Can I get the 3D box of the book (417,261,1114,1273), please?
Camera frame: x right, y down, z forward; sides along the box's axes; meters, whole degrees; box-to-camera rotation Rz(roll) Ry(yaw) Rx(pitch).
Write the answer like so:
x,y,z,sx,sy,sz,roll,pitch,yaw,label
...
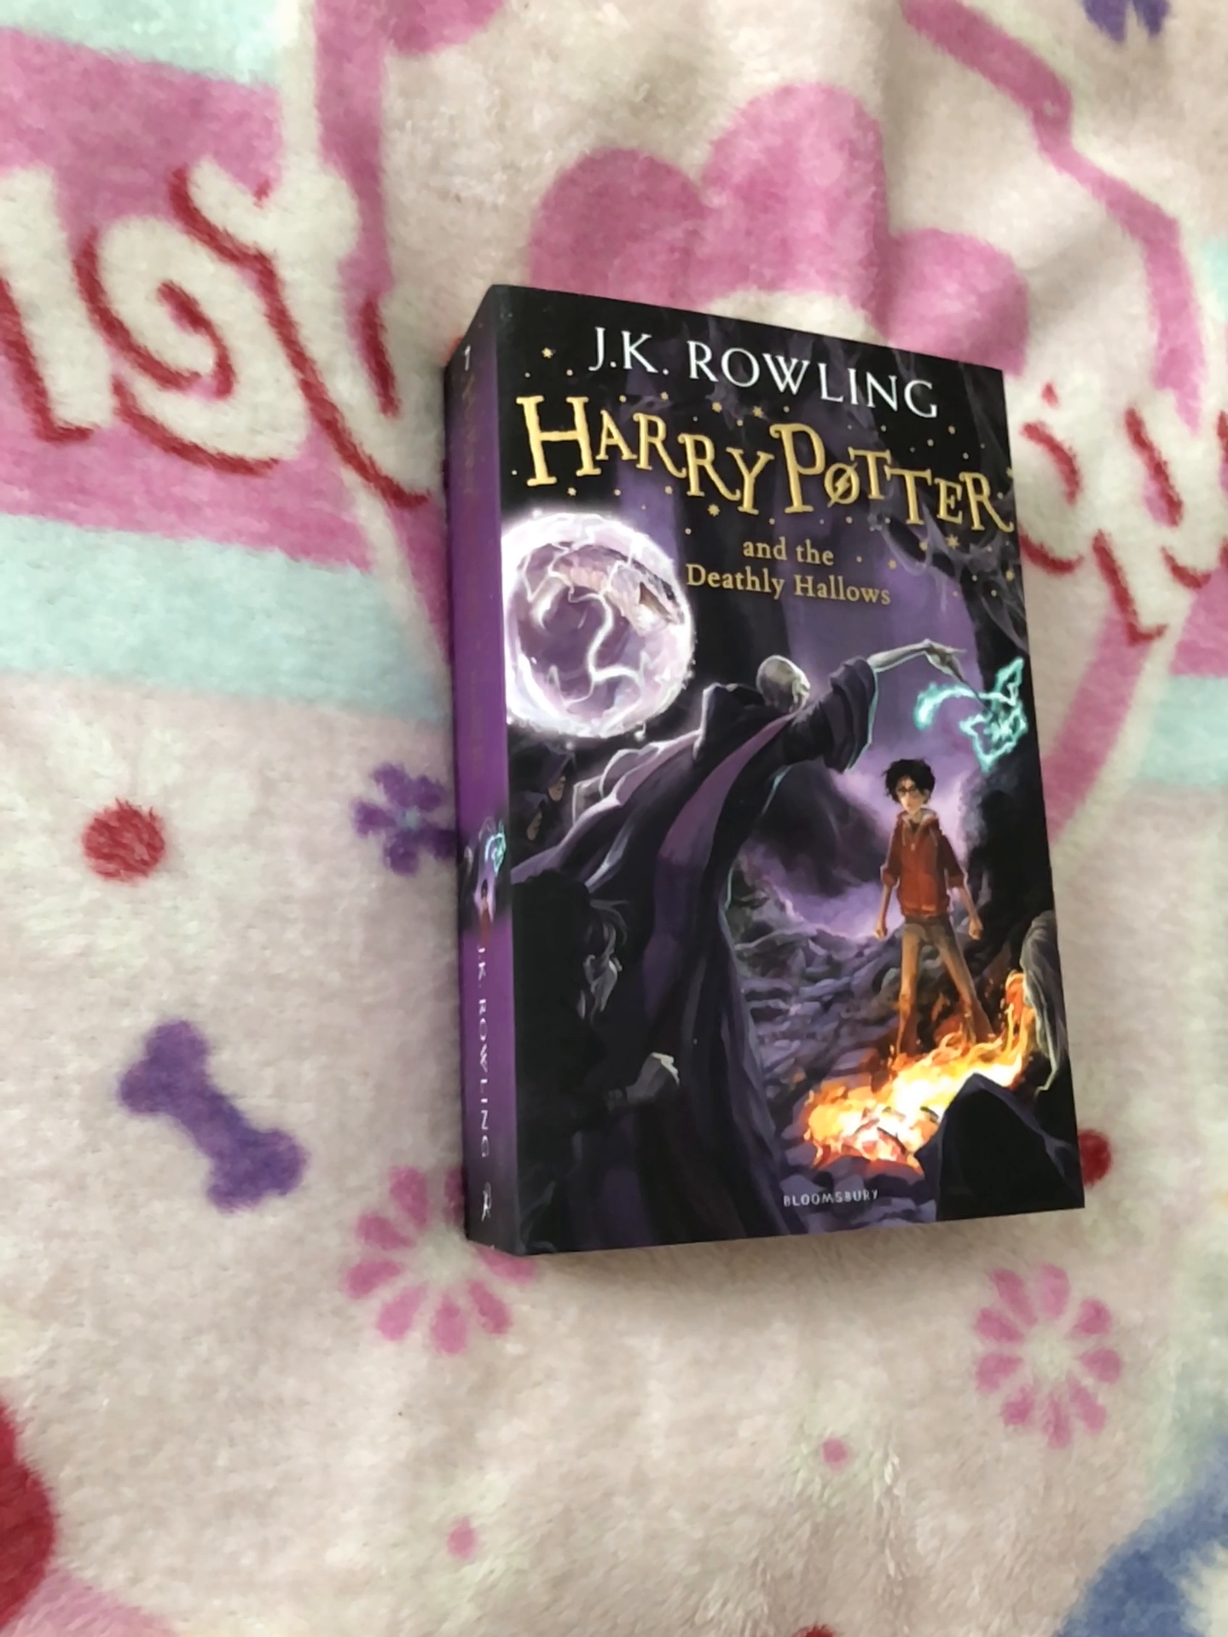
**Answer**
x,y,z,sx,sy,sz,roll,pitch,yaw,label
0.027,-0.008,0.296,0.126,0.060,0.187,1,79,-19,book
